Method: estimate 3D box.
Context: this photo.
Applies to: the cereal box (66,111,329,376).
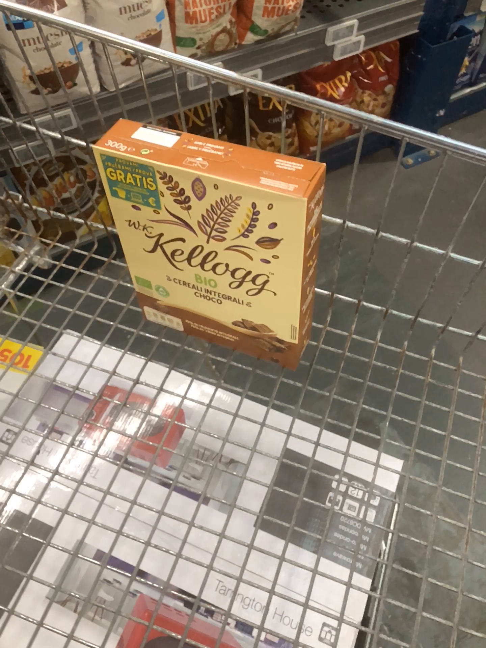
[{"bbox_3d":[-0.033,-0.065,0.506,0.200,0.219,0.060,17,54,16],"label":"cereal box"}]
